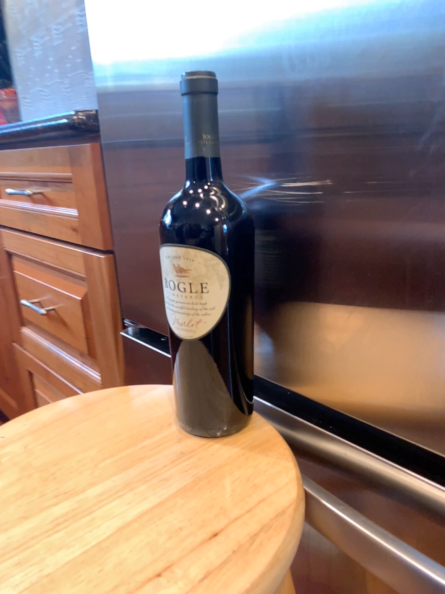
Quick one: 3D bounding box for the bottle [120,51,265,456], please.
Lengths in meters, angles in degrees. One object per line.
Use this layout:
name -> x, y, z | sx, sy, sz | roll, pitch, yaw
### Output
bottle -> -0.017, -0.028, 0.404 | 0.080, 0.319, 0.080 | -2, 17, 1
